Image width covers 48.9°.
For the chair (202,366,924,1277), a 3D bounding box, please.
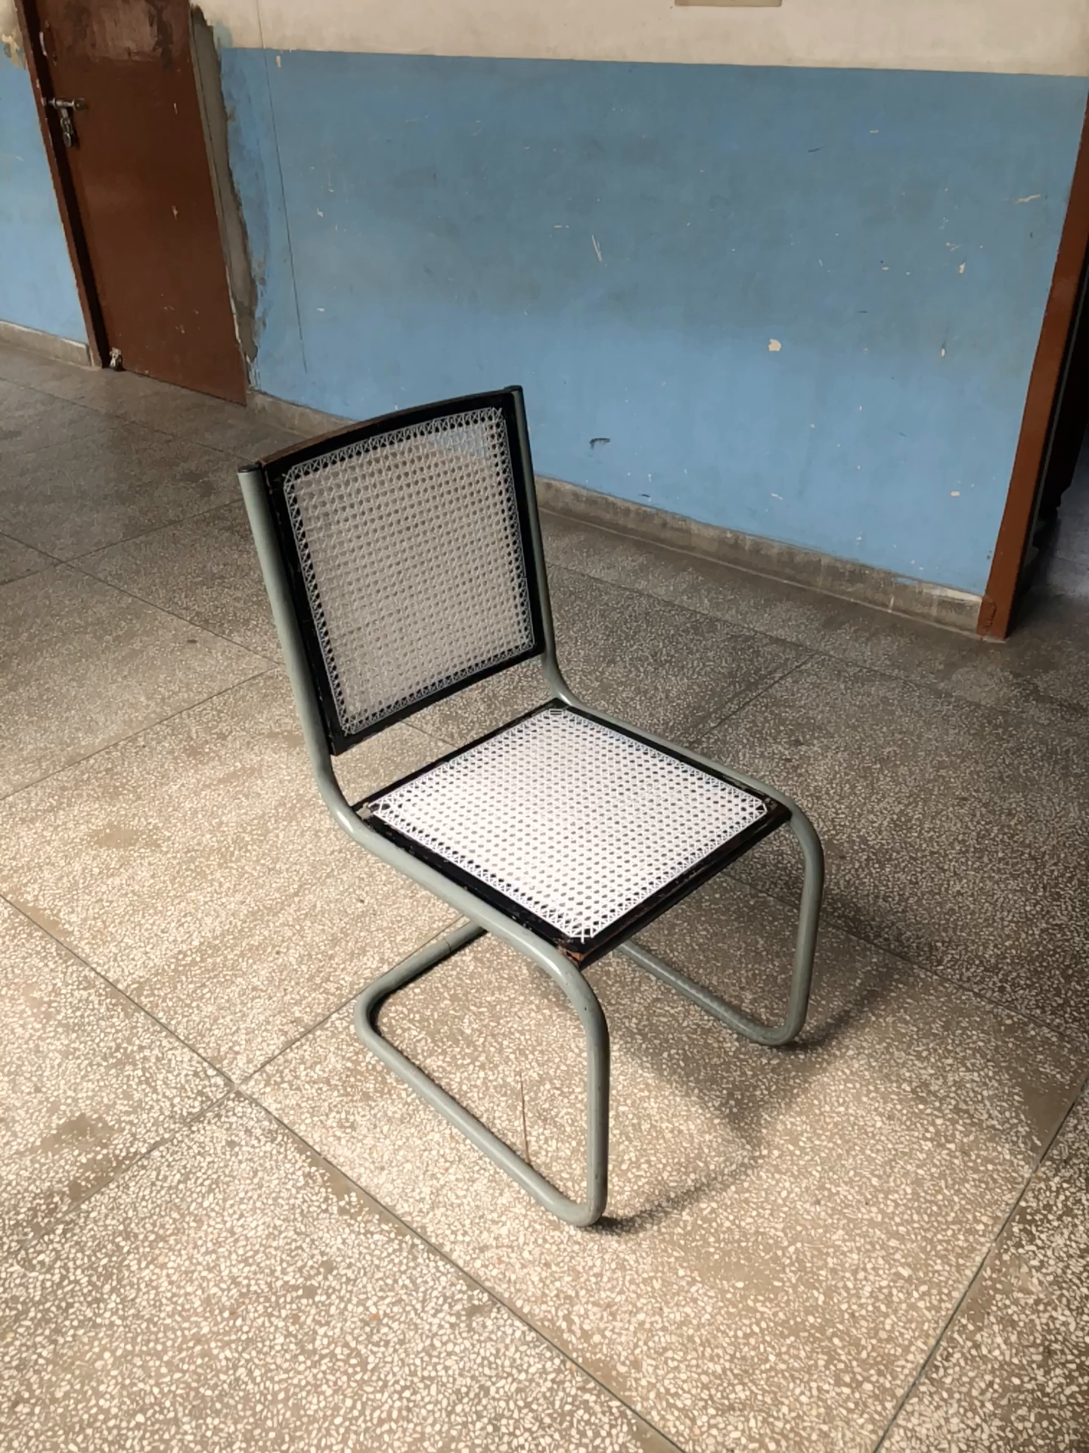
[{"bbox_3d":[0.018,0.076,1.459,0.571,0.817,0.491,27,41,37],"label":"chair"}]
